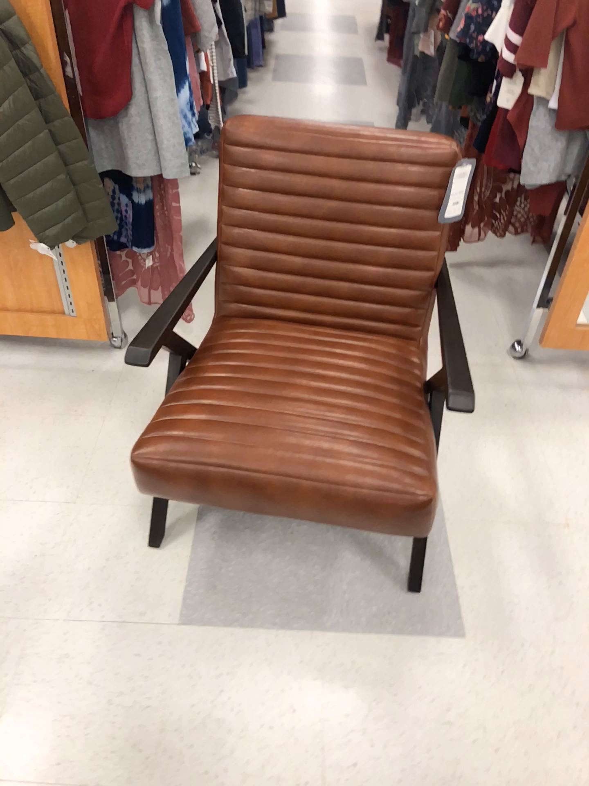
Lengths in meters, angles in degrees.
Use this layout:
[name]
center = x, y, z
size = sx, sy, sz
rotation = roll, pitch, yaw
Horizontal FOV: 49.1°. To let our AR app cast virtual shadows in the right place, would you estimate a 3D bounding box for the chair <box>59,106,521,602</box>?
[chair]
center = 0.027, -0.100, 1.428
size = 0.675, 0.756, 0.681
rotation = 8, 42, 6
